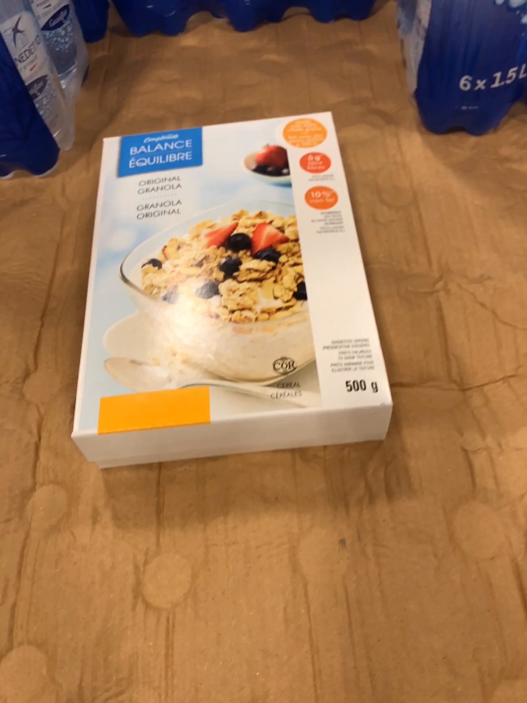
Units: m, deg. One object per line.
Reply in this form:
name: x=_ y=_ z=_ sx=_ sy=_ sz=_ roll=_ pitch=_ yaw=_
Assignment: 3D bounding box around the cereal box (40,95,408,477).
cereal box: x=-0.028 y=-0.057 z=0.376 sx=0.180 sy=0.050 sz=0.251 roll=-5 pitch=57 yaw=0
